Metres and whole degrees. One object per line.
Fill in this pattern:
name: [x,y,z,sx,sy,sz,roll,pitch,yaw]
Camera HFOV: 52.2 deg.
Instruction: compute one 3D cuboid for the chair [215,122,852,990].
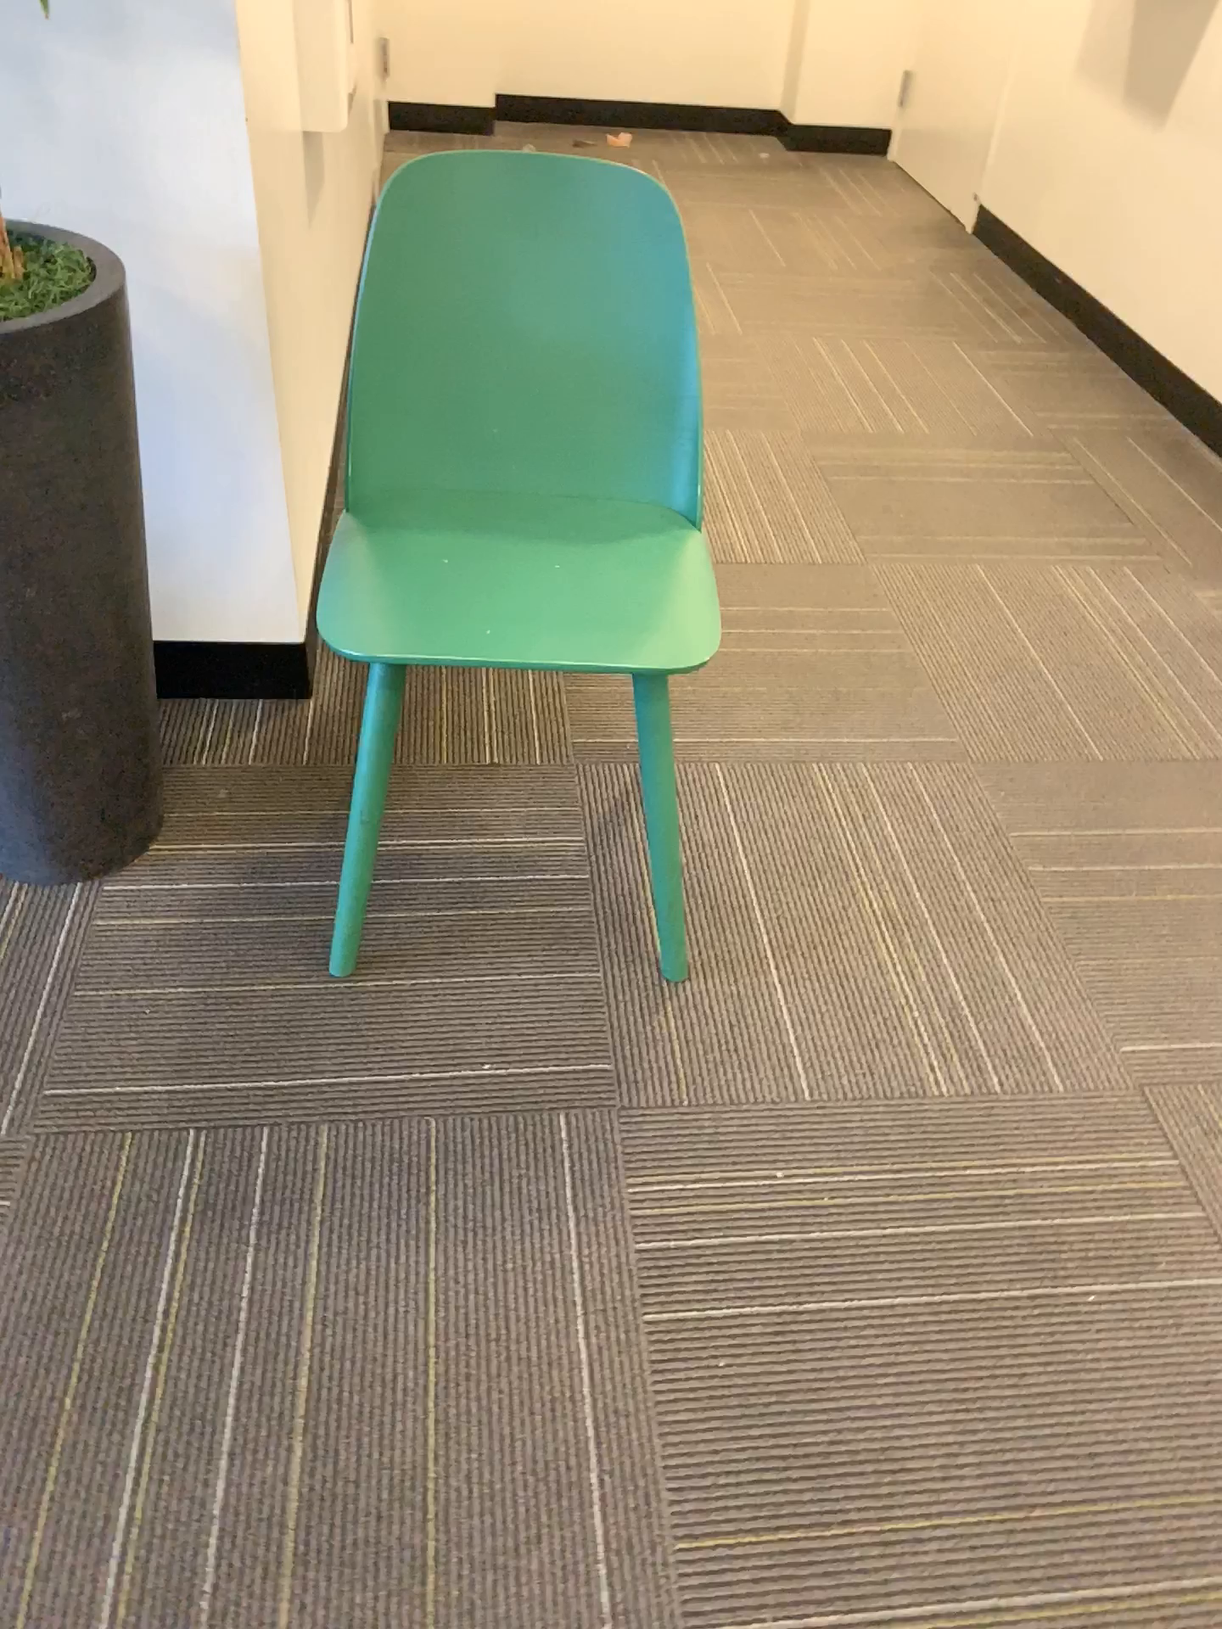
chair: [-0.099,-0.267,1.391,0.480,0.766,0.543,1,40,-6]
